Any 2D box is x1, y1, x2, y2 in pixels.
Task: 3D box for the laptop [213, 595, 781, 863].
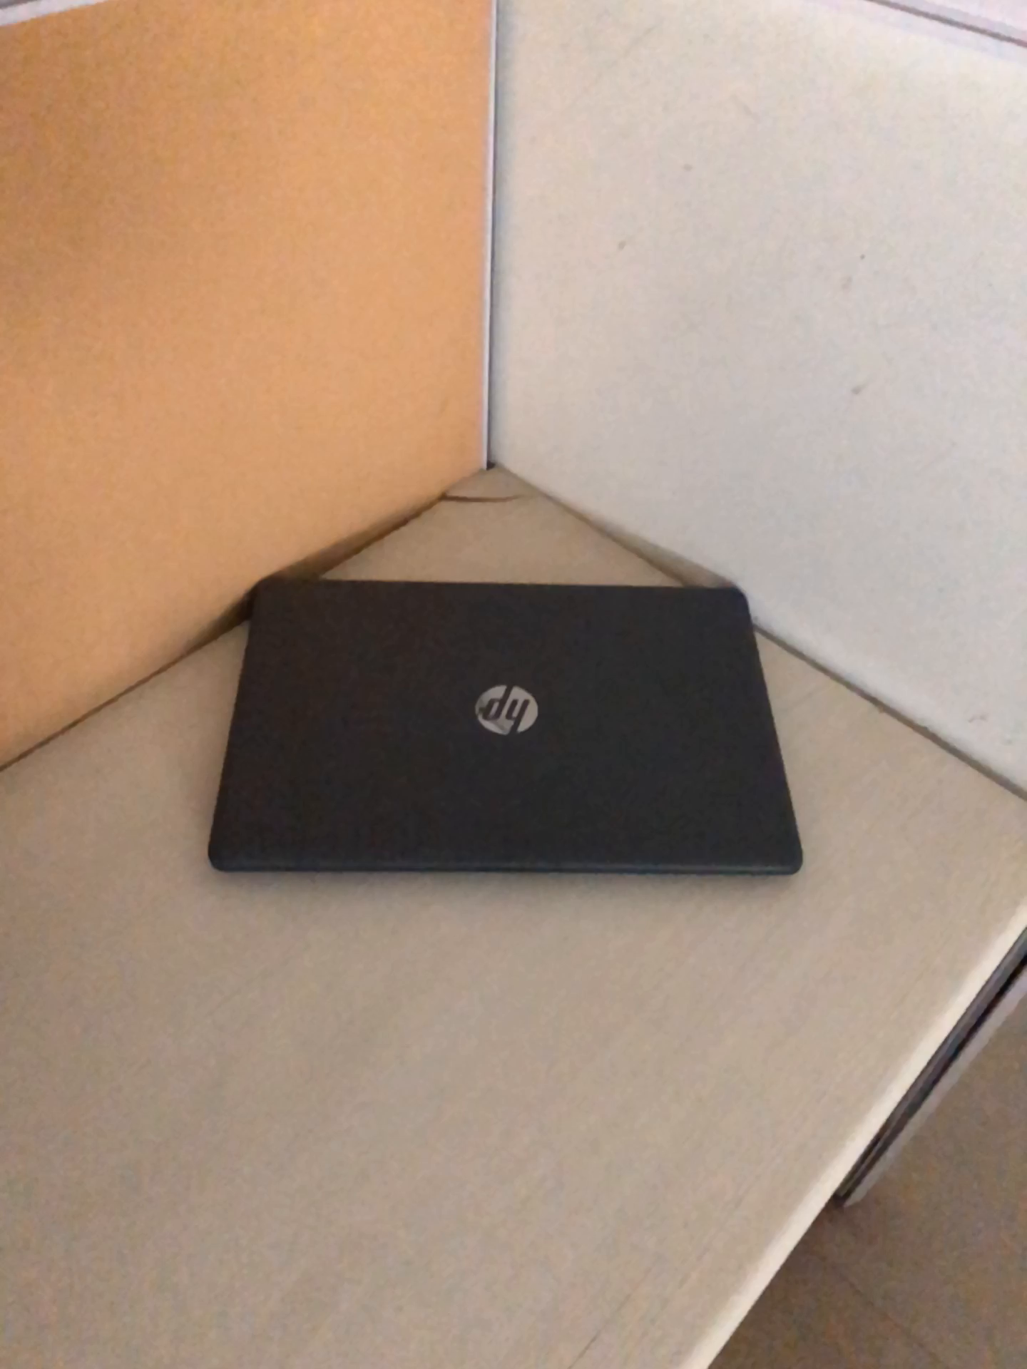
[{"bbox_3d":[-0.009,0.022,0.790,0.355,0.004,0.237,0,48,-2],"label":"laptop"}]
